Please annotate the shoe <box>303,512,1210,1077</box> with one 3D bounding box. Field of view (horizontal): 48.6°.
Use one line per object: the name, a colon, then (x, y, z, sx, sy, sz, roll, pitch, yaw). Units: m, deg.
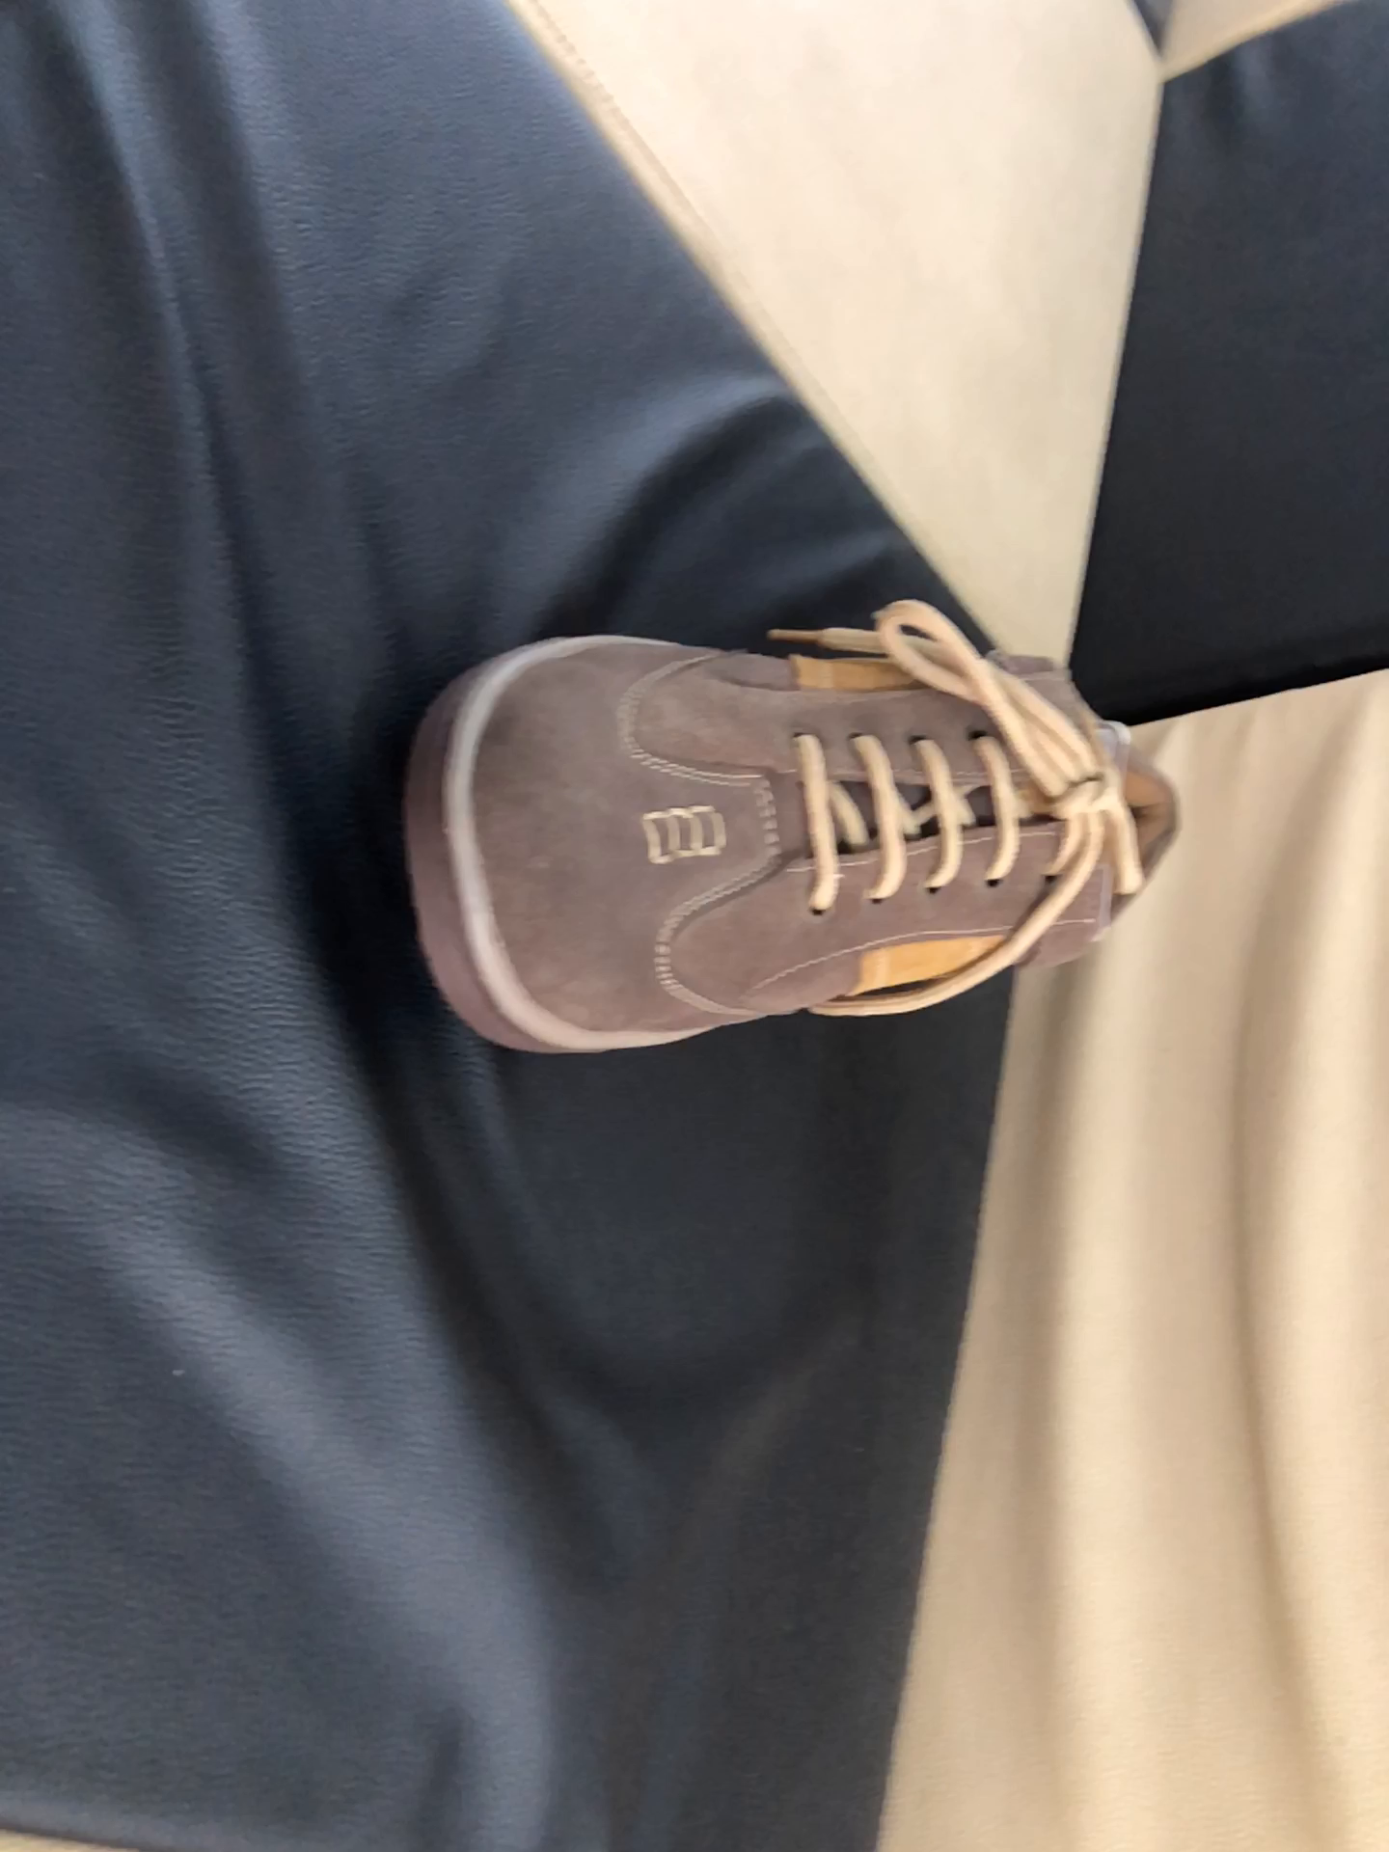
shoe: (0.042, -0.024, 0.422, 0.292, 0.079, 0.100, -1, 83, -51)
